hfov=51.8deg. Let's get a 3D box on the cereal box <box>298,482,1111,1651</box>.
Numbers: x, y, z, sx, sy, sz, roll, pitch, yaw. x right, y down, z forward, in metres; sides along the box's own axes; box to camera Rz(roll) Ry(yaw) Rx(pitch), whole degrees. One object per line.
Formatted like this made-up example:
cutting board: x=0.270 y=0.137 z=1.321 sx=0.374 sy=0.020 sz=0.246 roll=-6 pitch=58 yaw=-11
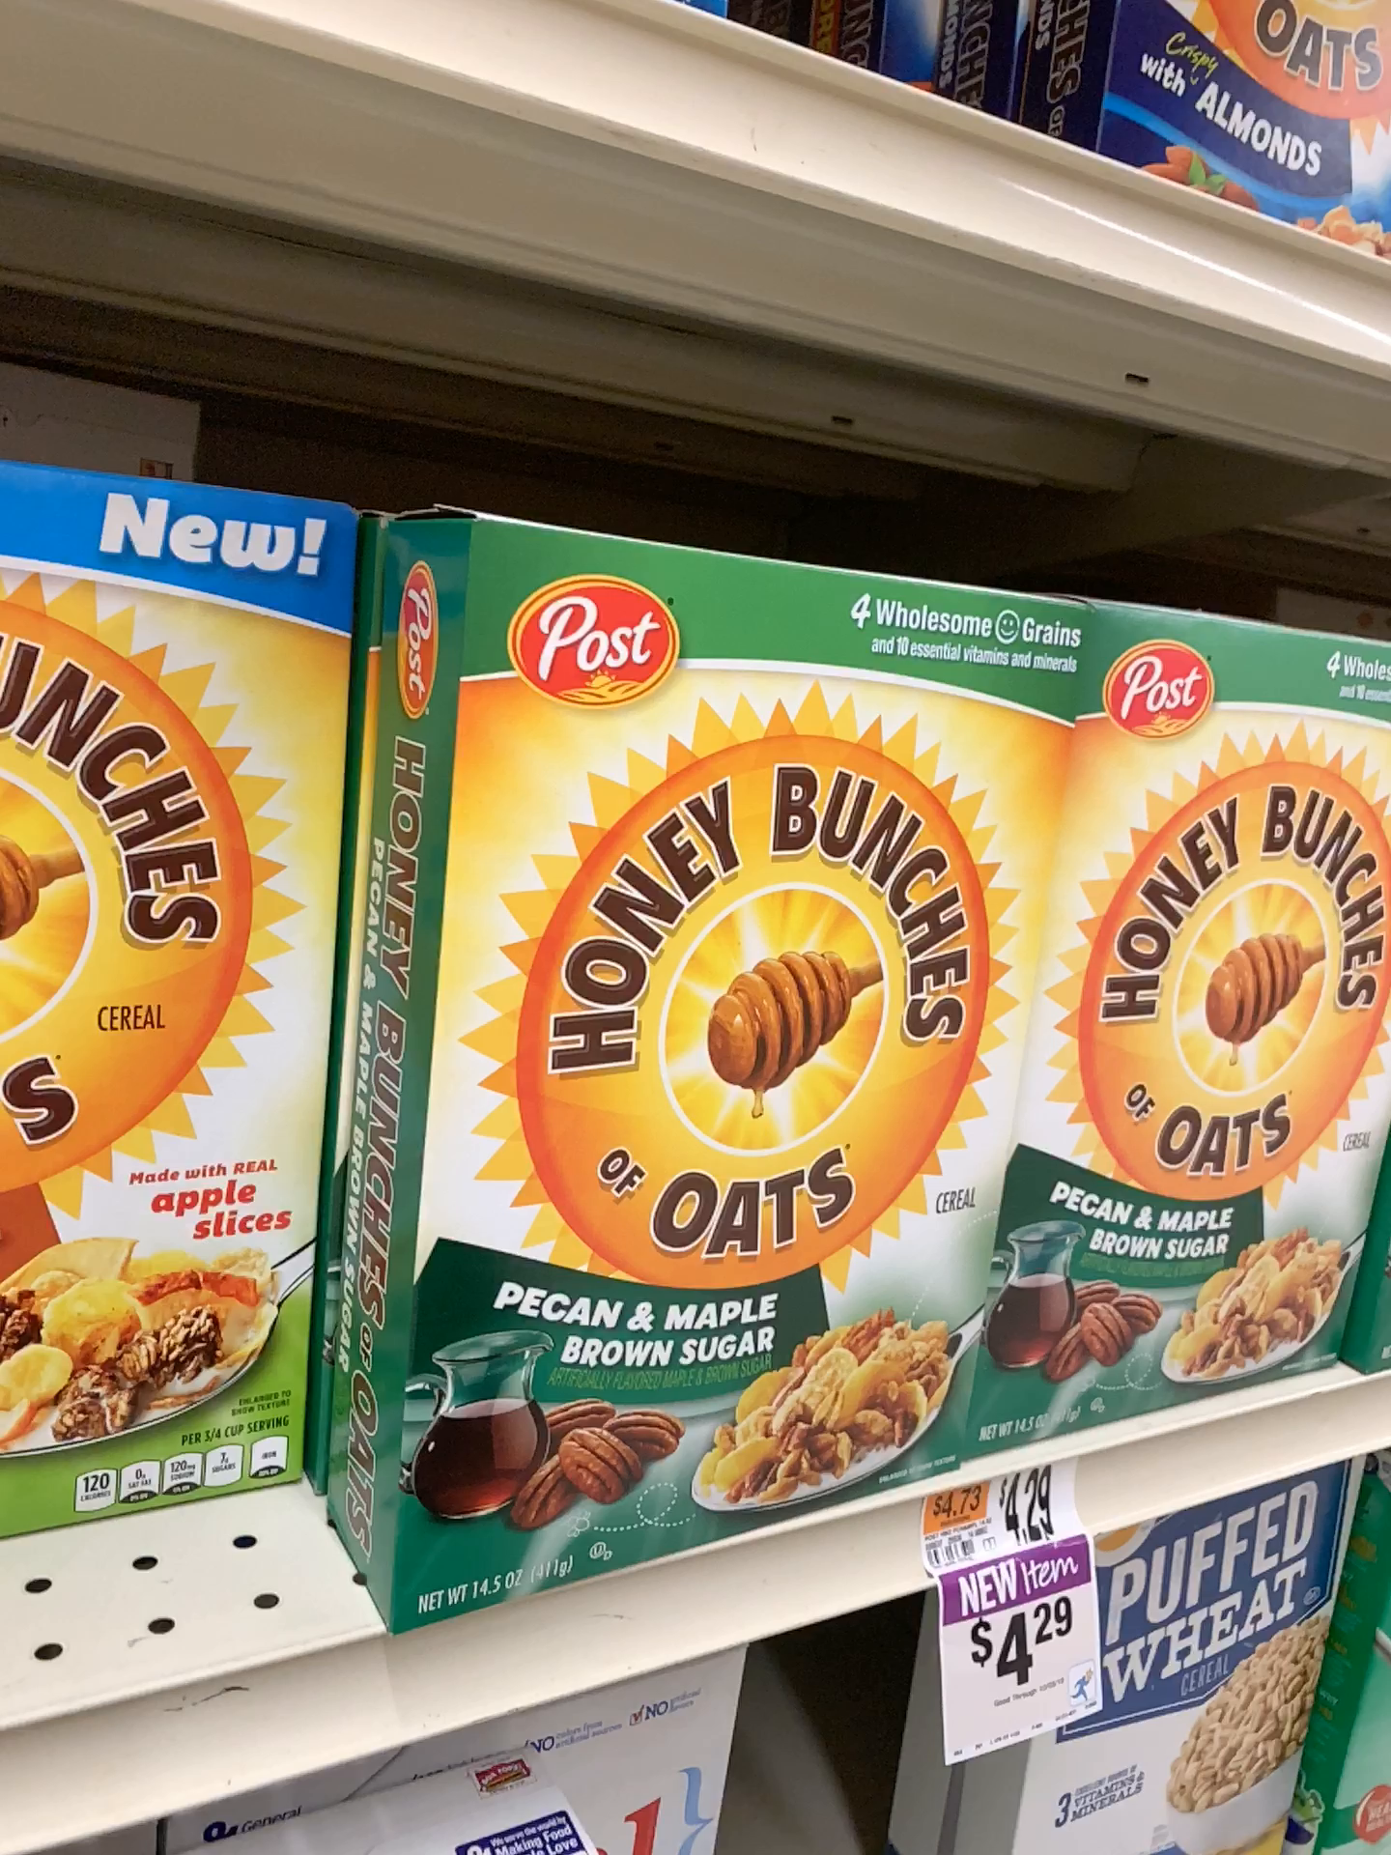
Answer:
cereal box: x=0.004 y=0.034 z=0.407 sx=0.200 sy=0.279 sz=0.060 roll=-1 pitch=14 yaw=-34
